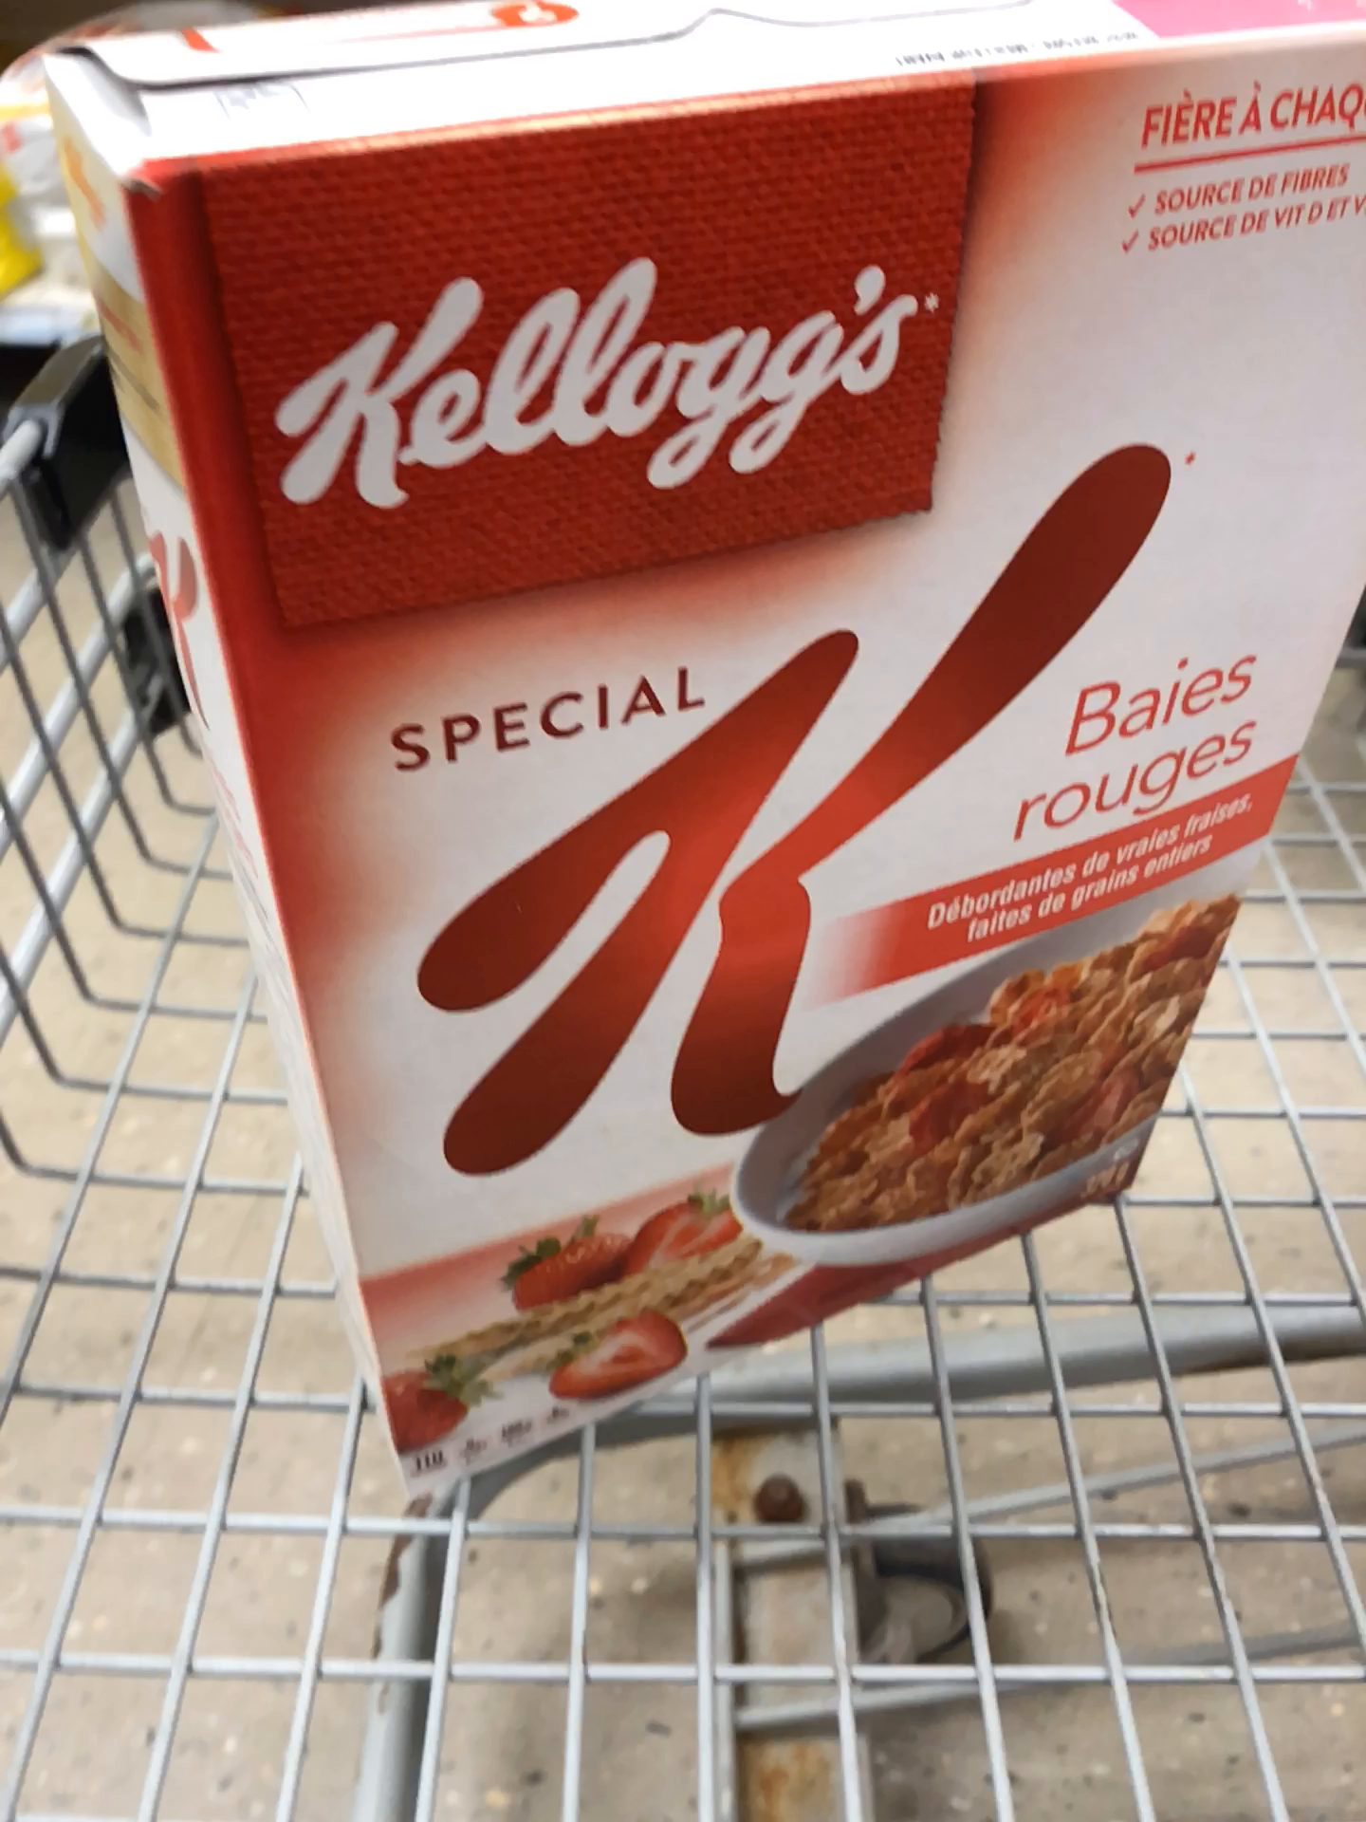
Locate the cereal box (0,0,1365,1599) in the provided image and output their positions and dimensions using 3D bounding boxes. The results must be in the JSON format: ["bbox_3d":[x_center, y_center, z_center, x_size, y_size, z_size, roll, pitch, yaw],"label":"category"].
[{"bbox_3d":[0.019,-0.008,0.271,0.210,0.269,0.050,-17,44,-19],"label":"cereal box"}]
